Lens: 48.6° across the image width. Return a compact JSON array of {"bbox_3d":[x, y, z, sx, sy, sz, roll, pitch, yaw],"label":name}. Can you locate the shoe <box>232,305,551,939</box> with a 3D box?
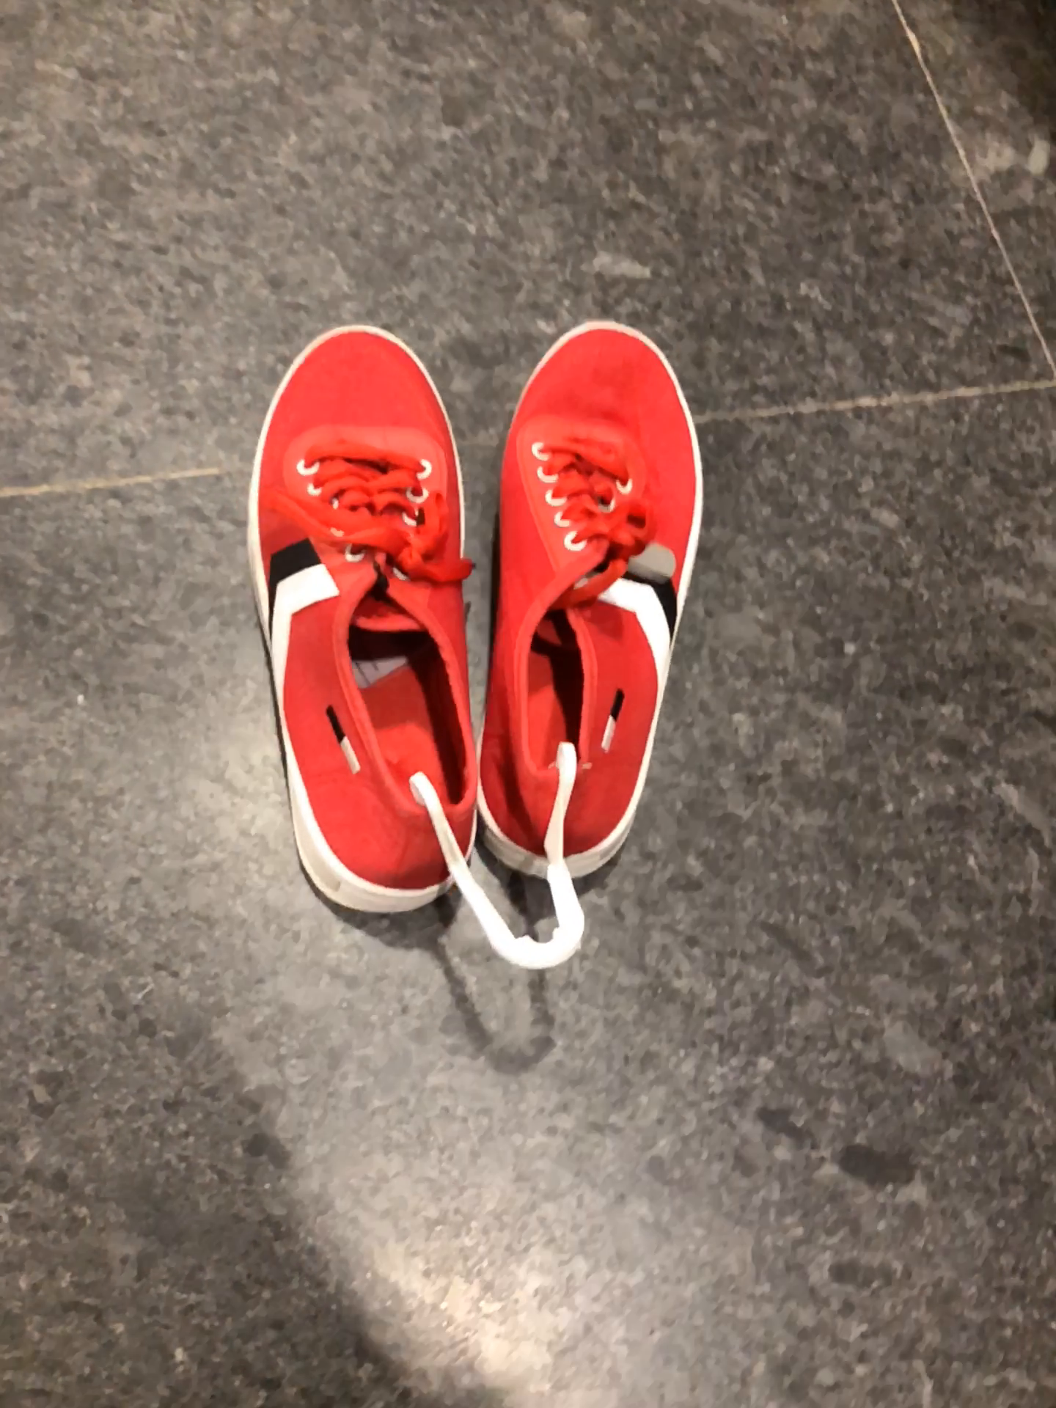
[{"bbox_3d":[-0.061,-0.034,0.469,0.101,0.090,0.233,-2,69,-11],"label":"shoe"}]

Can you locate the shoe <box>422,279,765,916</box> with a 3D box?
[{"bbox_3d":[0.029,-0.044,0.484,0.103,0.090,0.234,10,67,-6],"label":"shoe"}]
